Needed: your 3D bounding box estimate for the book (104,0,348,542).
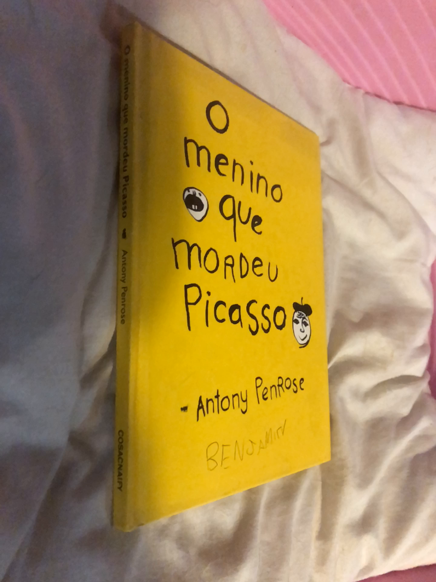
[{"bbox_3d":[0.020,-0.009,0.285,0.181,0.024,0.240,8,79,-48],"label":"book"}]
